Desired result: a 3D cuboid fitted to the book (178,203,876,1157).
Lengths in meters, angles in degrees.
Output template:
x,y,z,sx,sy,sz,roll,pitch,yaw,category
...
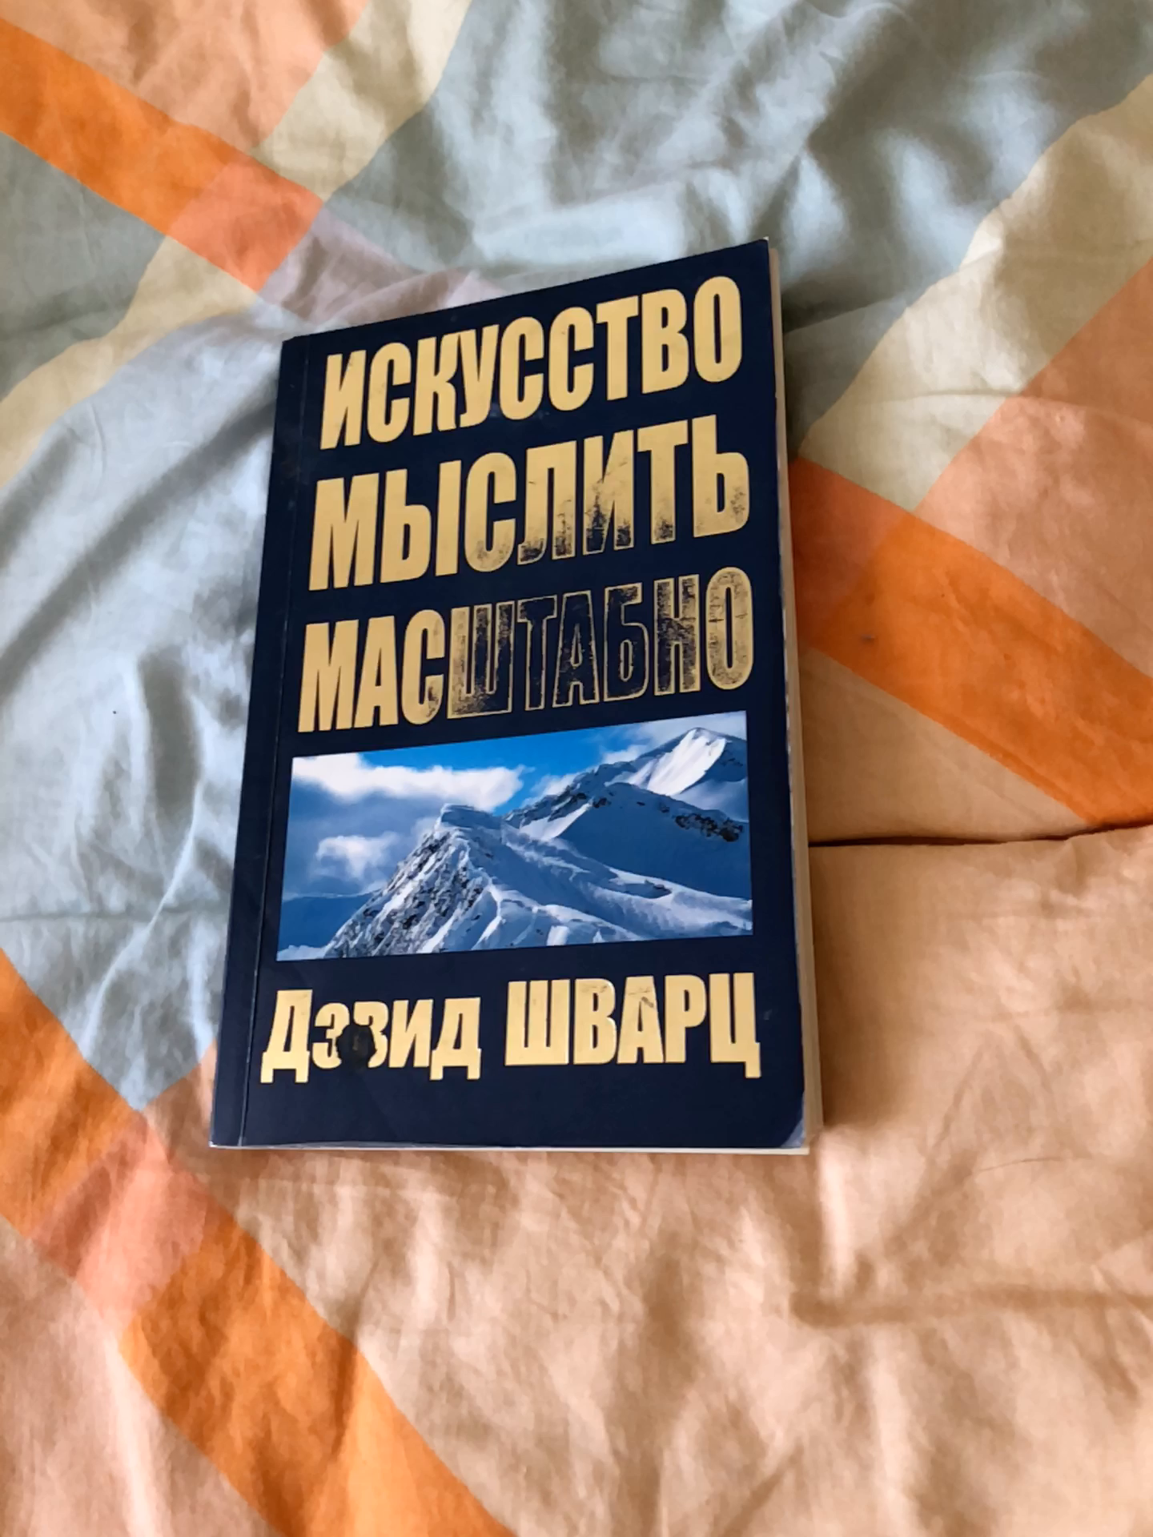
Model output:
x,y,z,sx,sy,sz,roll,pitch,yaw,category
-0.009,-0.019,0.266,0.127,0.028,0.189,-5,70,18,book
